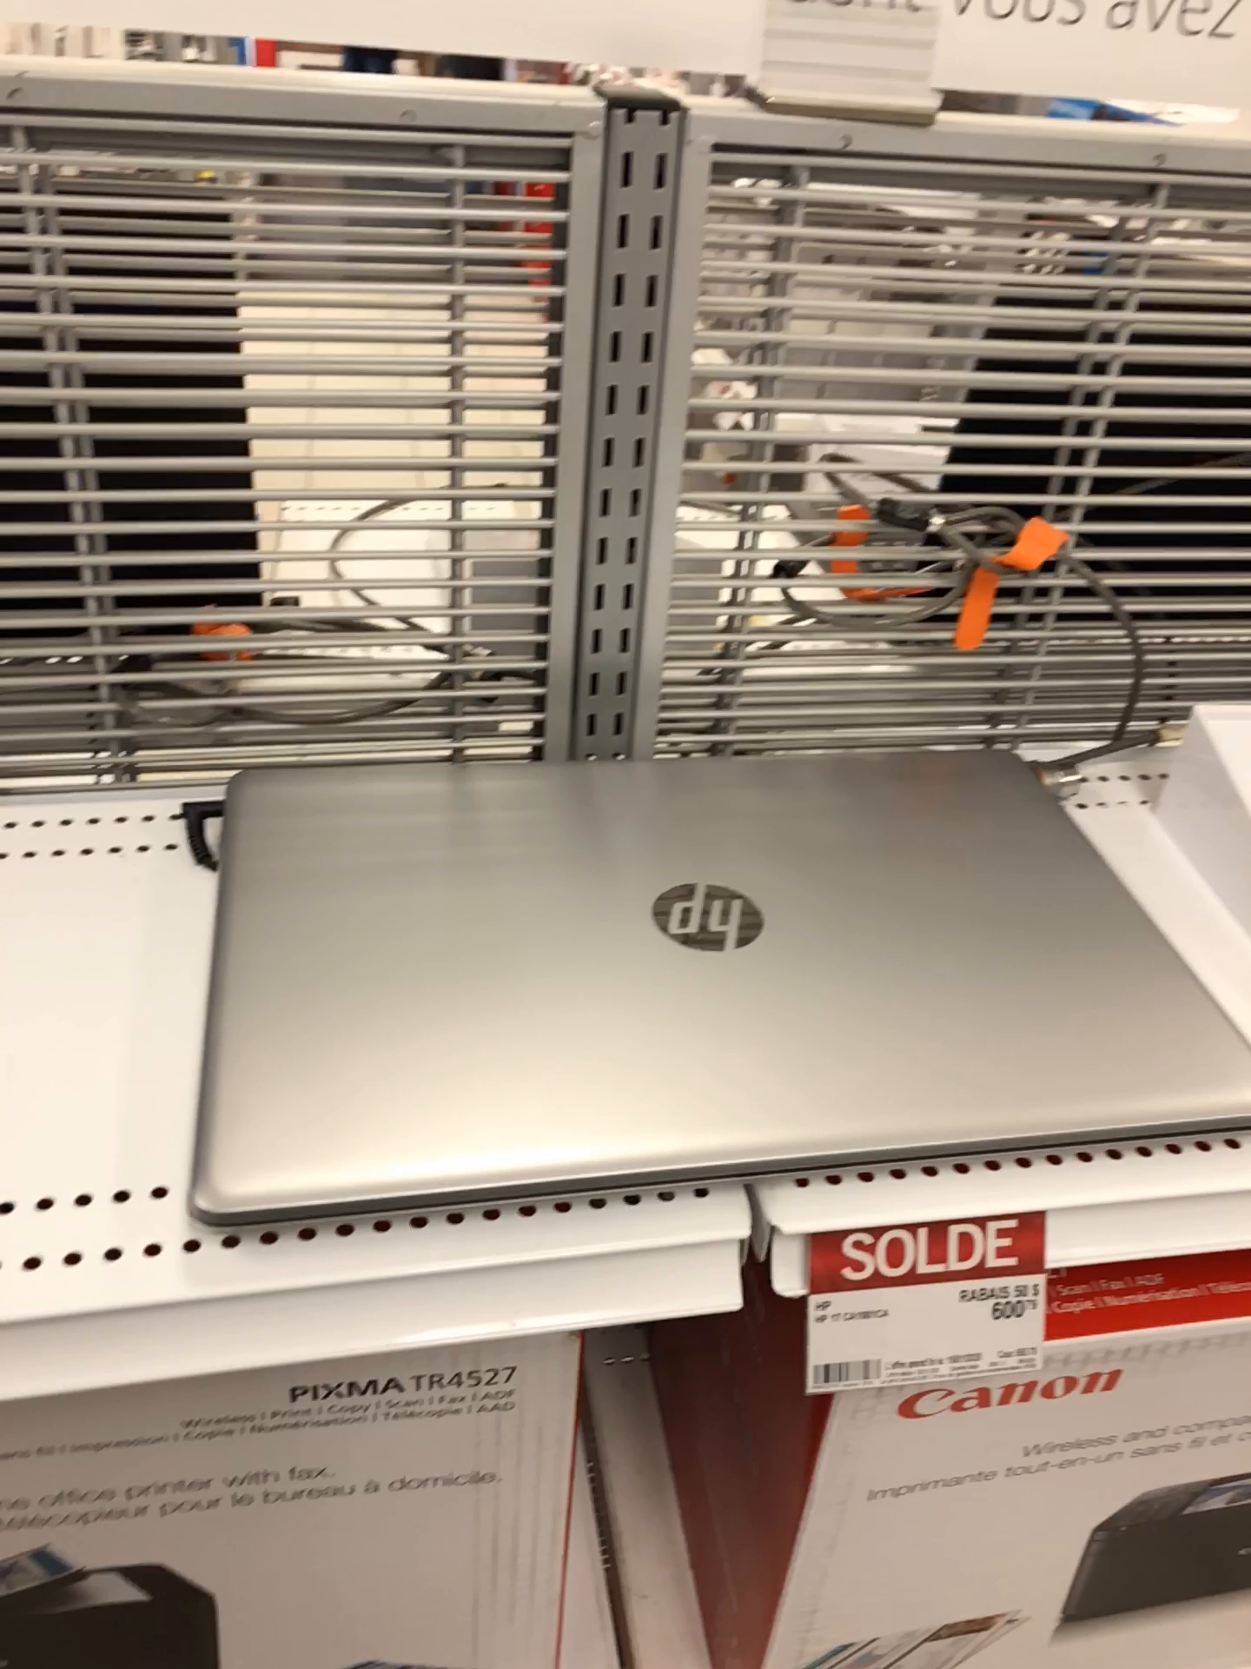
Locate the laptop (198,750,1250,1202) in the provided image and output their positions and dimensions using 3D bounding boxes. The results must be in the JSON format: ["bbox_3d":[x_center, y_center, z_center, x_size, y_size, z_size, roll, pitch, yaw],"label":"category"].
[{"bbox_3d":[0.032,0.039,0.623,0.416,0.002,0.278,-3,34,-11],"label":"laptop"}]
